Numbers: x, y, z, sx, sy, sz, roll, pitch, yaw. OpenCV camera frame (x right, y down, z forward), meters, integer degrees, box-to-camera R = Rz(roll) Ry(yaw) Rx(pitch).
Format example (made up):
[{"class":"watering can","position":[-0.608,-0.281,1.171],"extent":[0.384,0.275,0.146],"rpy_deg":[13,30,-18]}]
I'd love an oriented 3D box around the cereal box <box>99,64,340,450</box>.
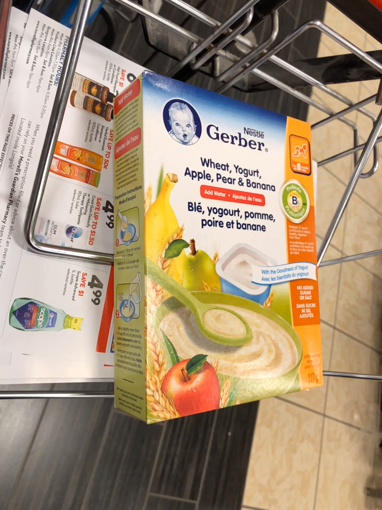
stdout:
[{"class":"cereal box","position":[0.022,0.003,0.281],"extent":[0.151,0.050,0.200],"rpy_deg":[4,80,-33]}]
